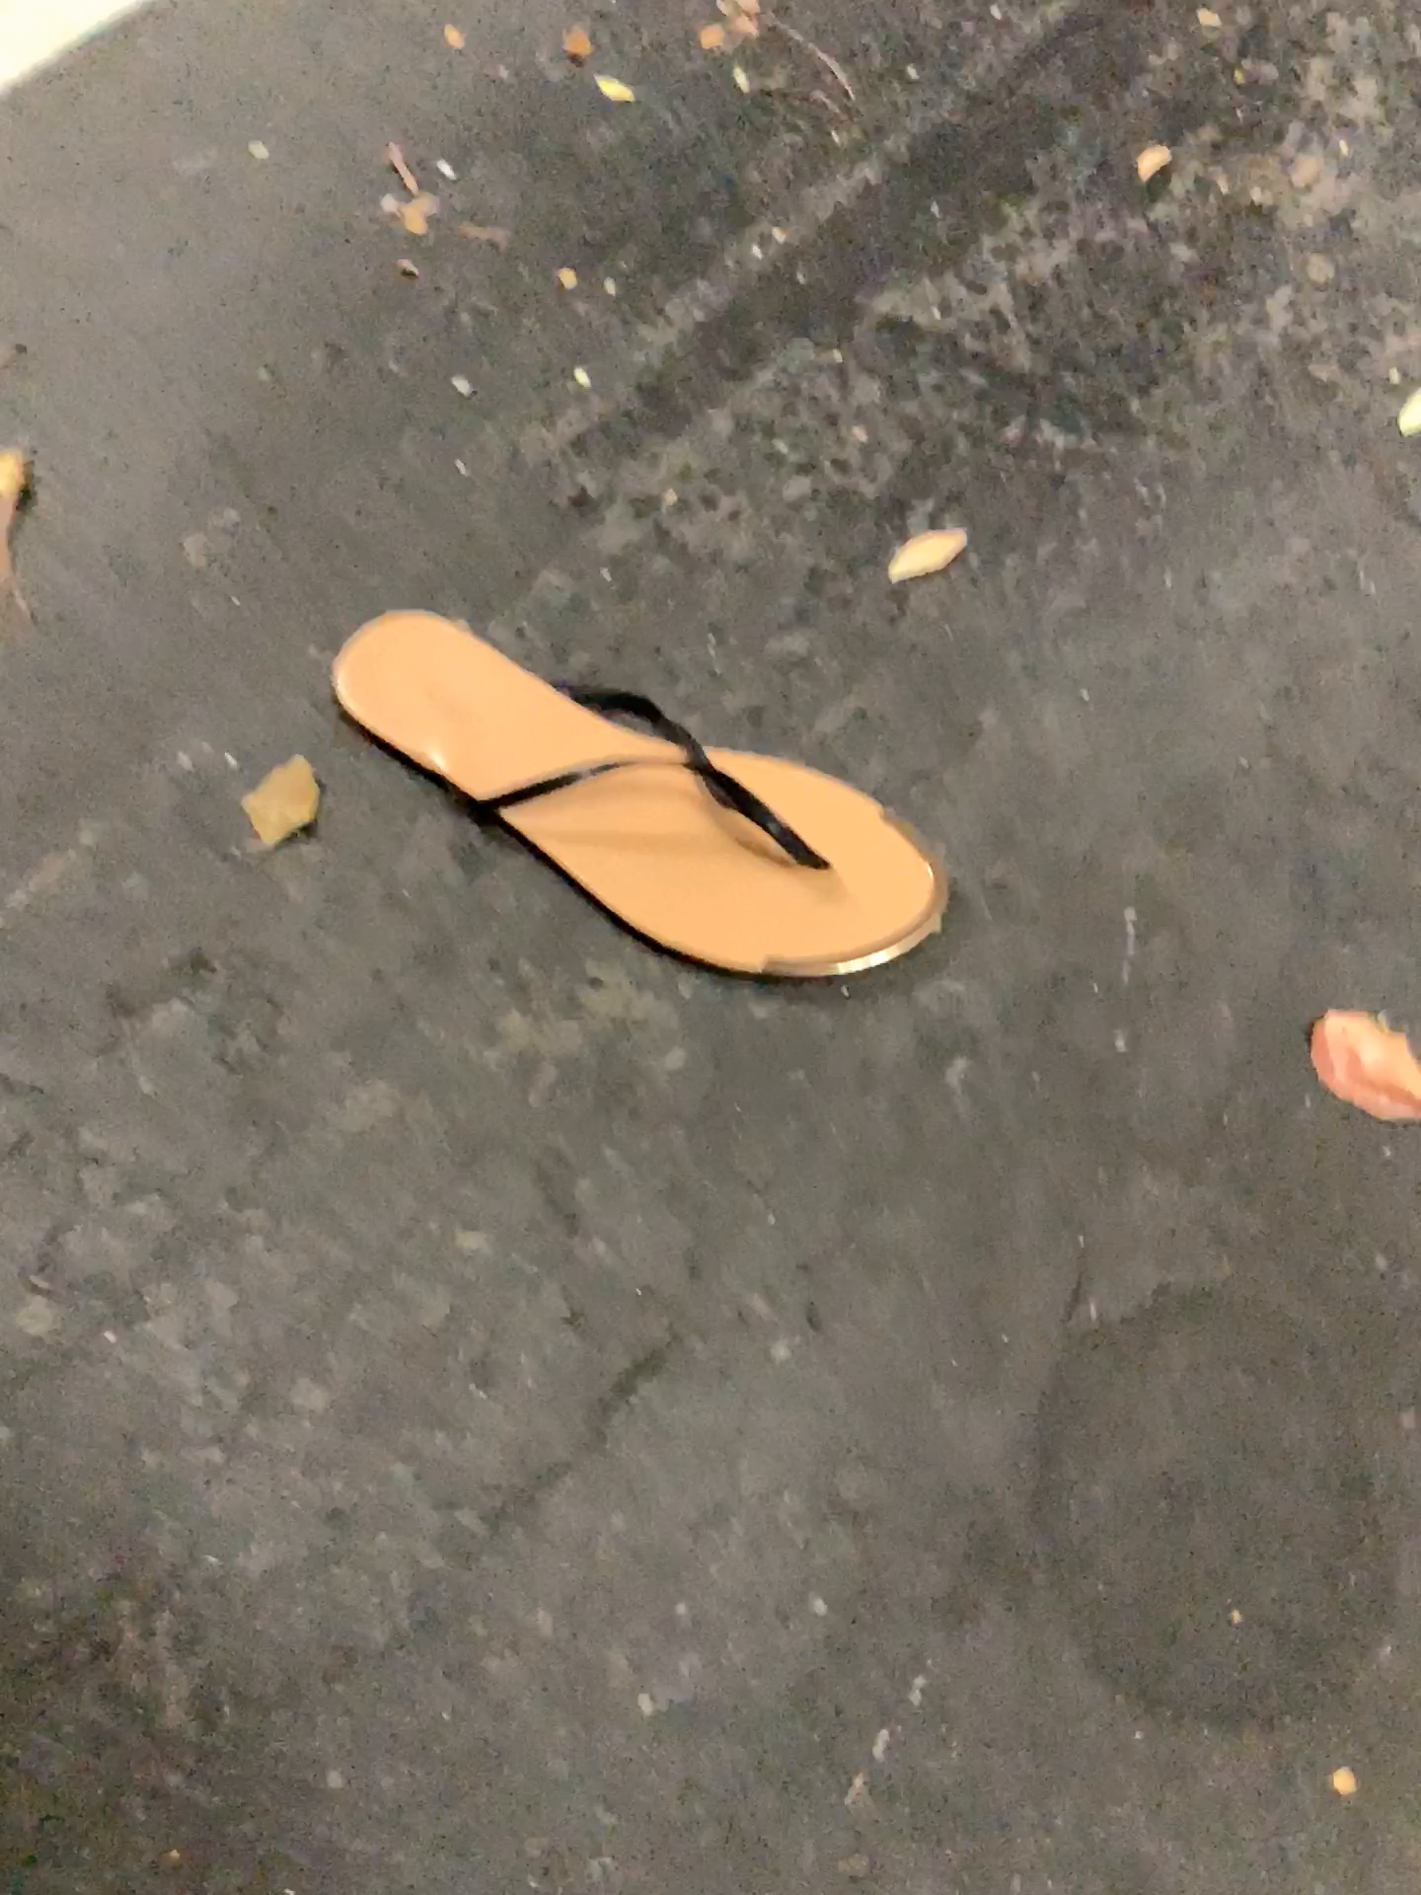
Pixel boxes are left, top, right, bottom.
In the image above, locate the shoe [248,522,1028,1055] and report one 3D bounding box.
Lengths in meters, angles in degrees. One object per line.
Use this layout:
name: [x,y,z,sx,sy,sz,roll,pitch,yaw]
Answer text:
shoe: [-0.033,-0.071,0.626,0.290,0.030,0.110,26,69,17]
